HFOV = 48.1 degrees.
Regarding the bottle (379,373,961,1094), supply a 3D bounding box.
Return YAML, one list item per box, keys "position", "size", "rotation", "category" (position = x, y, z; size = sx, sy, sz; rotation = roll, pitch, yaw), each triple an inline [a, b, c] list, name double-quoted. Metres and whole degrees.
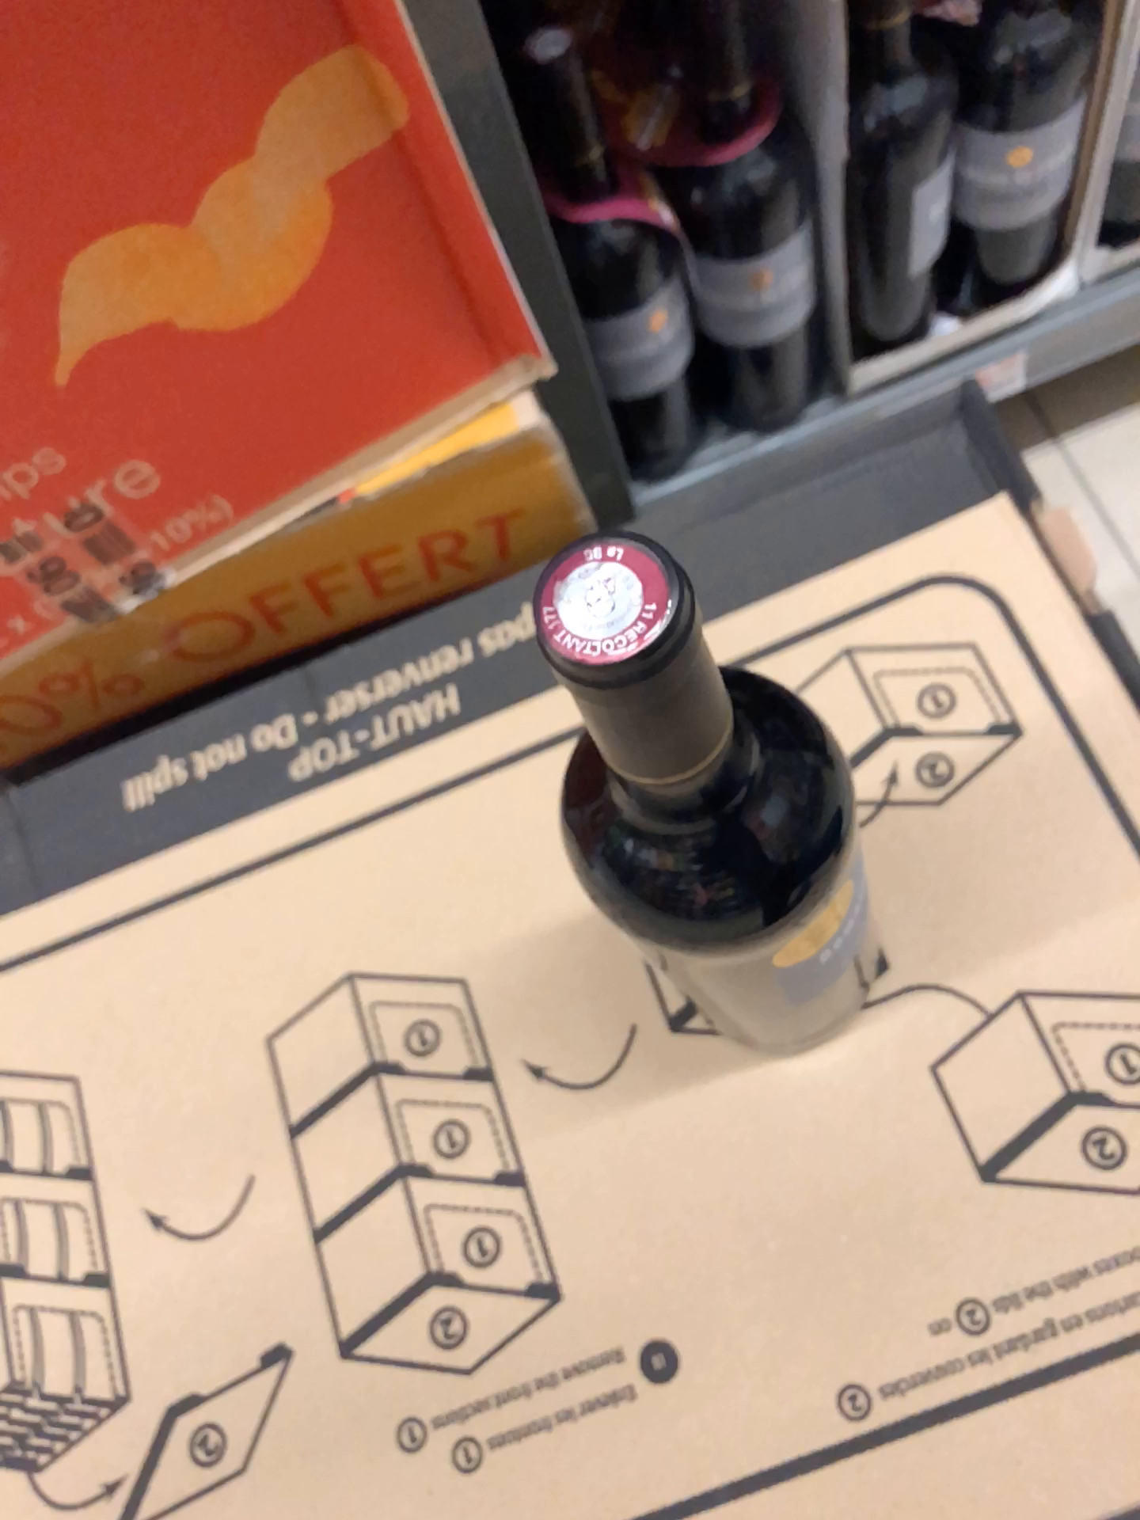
- position: [0.042, 0.027, 0.340]
  size: [0.090, 0.280, 0.090]
  rotation: [-4, 70, 12]
  category: "bottle"
